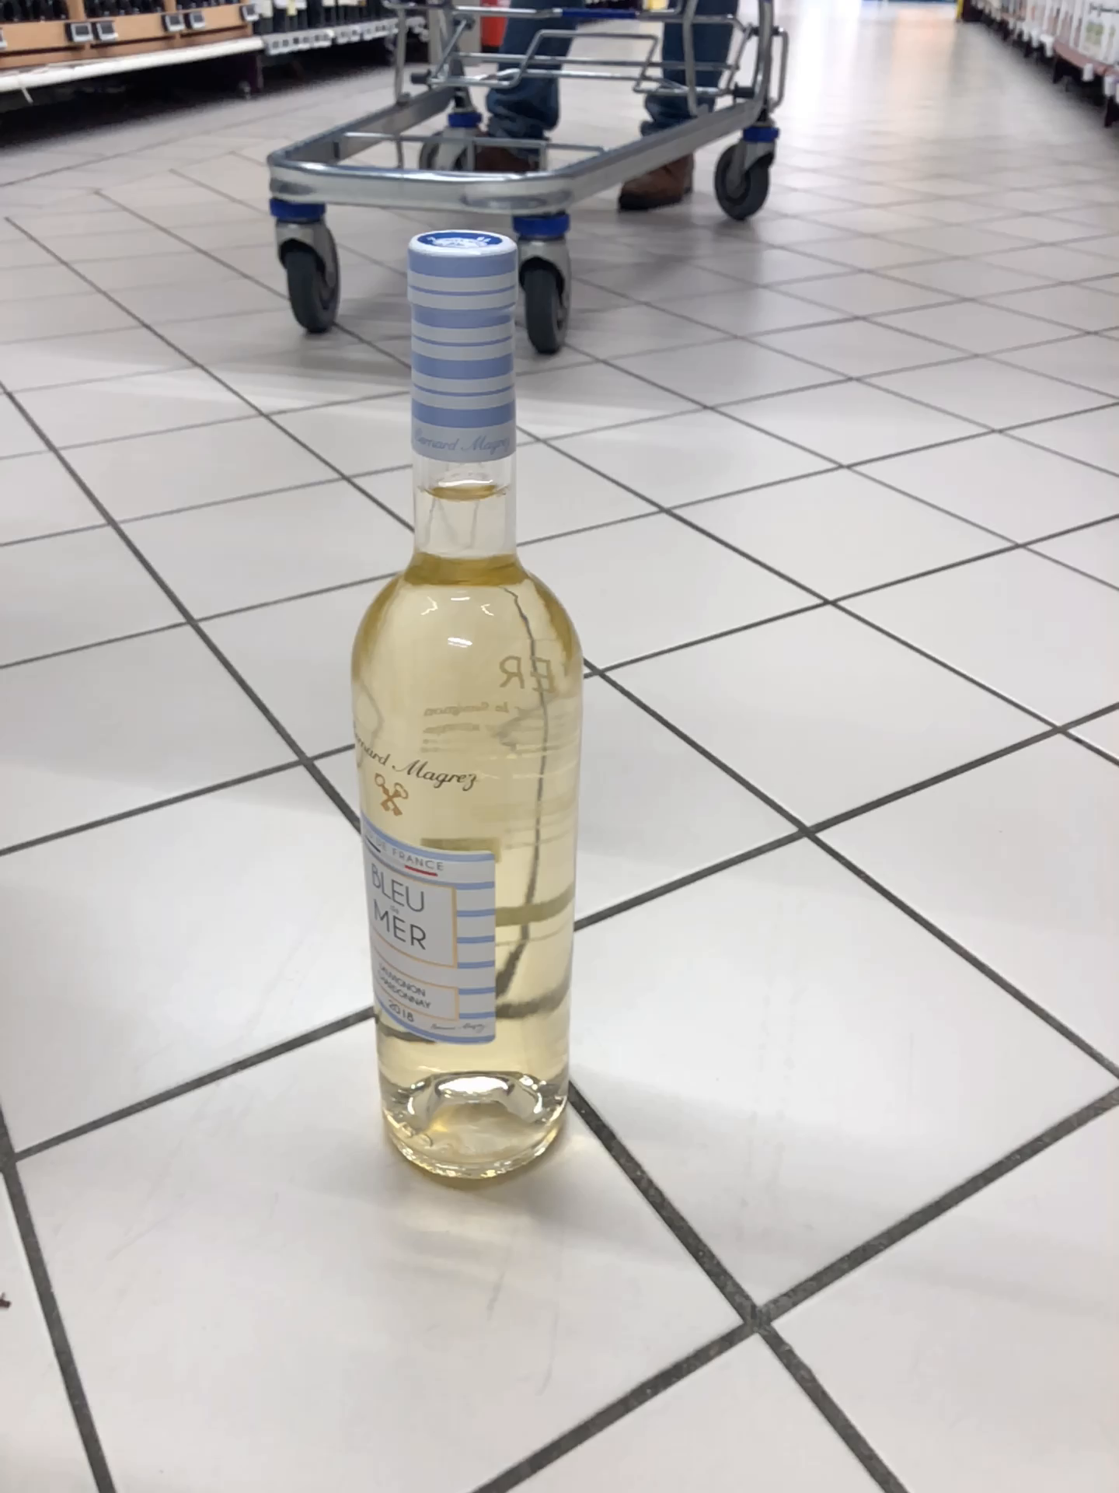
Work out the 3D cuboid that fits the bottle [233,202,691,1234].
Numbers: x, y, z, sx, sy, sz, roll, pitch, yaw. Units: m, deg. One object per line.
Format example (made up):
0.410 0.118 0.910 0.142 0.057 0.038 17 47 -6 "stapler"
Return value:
-0.025 0.005 0.387 0.080 0.308 0.080 1 32 0 "bottle"
